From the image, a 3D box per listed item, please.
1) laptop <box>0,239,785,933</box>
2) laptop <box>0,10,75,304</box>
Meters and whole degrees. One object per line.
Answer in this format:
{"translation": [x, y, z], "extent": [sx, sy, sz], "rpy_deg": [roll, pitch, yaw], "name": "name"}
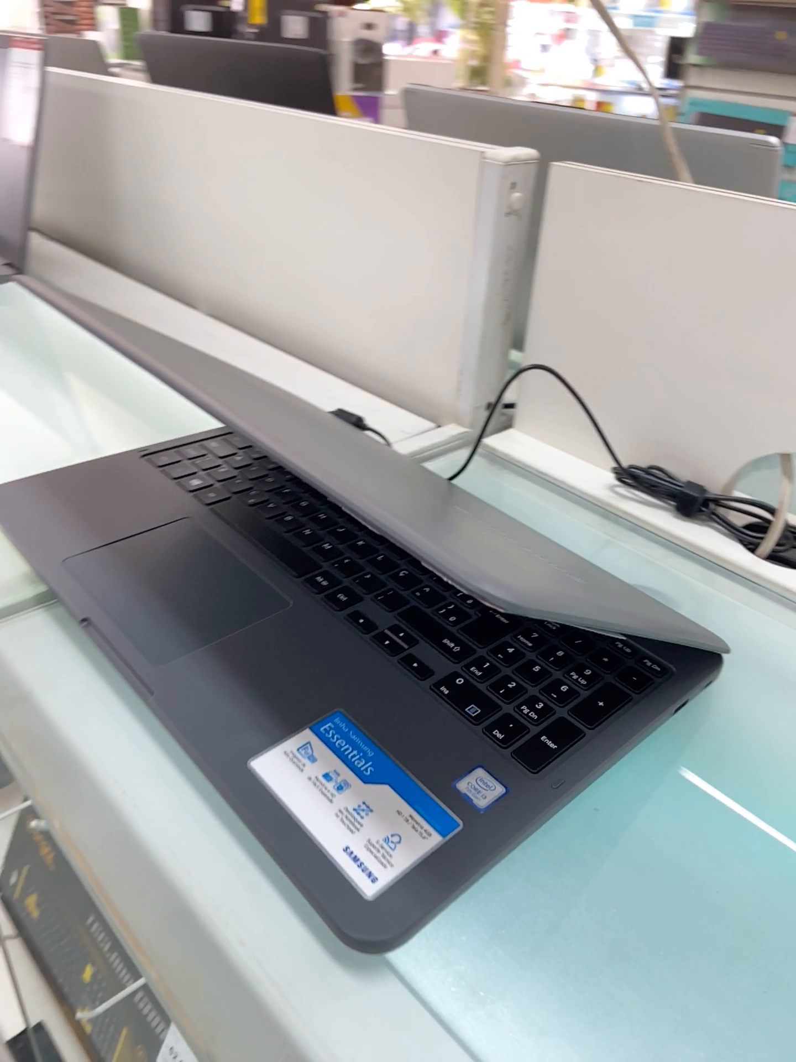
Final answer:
{"translation": [-0.043, -0.034, 0.435], "extent": [0.238, 0.126, 0.368], "rpy_deg": [-23, 42, -37], "name": "laptop"}
{"translation": [-0.609, -0.433, 0.920], "extent": [0.313, 0.225, 0.310], "rpy_deg": [-22, 41, -34], "name": "laptop"}
